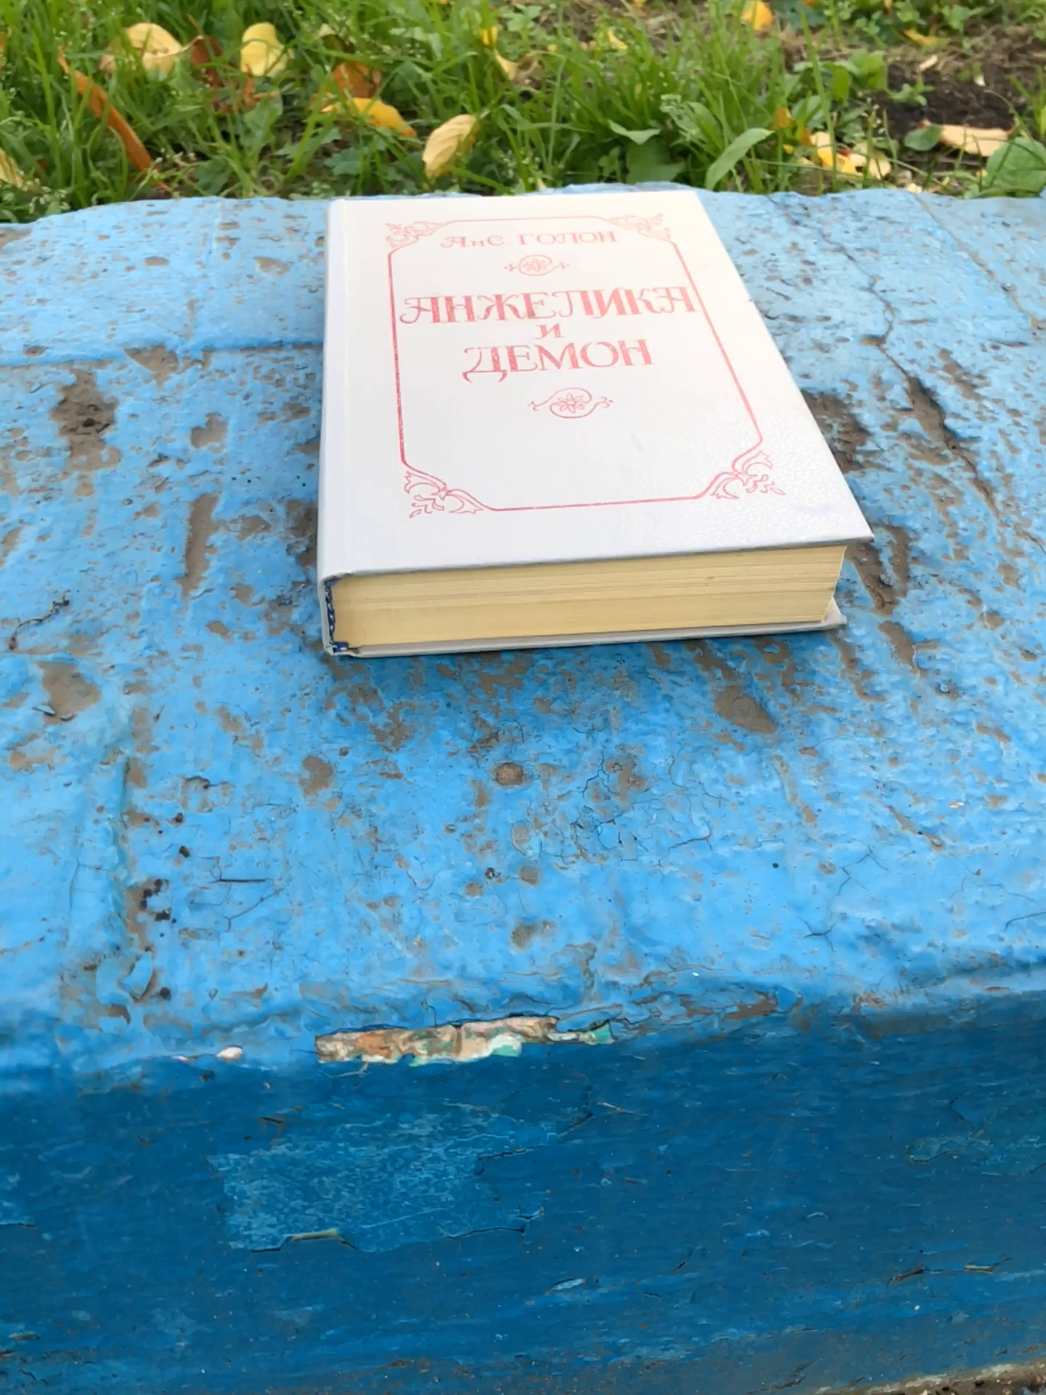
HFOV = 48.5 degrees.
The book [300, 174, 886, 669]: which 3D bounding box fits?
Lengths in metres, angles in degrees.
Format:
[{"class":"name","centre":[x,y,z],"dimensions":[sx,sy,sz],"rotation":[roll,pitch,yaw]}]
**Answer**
[{"class":"book","centre":[0.006,-0.099,0.359],"dimensions":[0.140,0.032,0.212],"rotation":[-4,46,-5]}]
